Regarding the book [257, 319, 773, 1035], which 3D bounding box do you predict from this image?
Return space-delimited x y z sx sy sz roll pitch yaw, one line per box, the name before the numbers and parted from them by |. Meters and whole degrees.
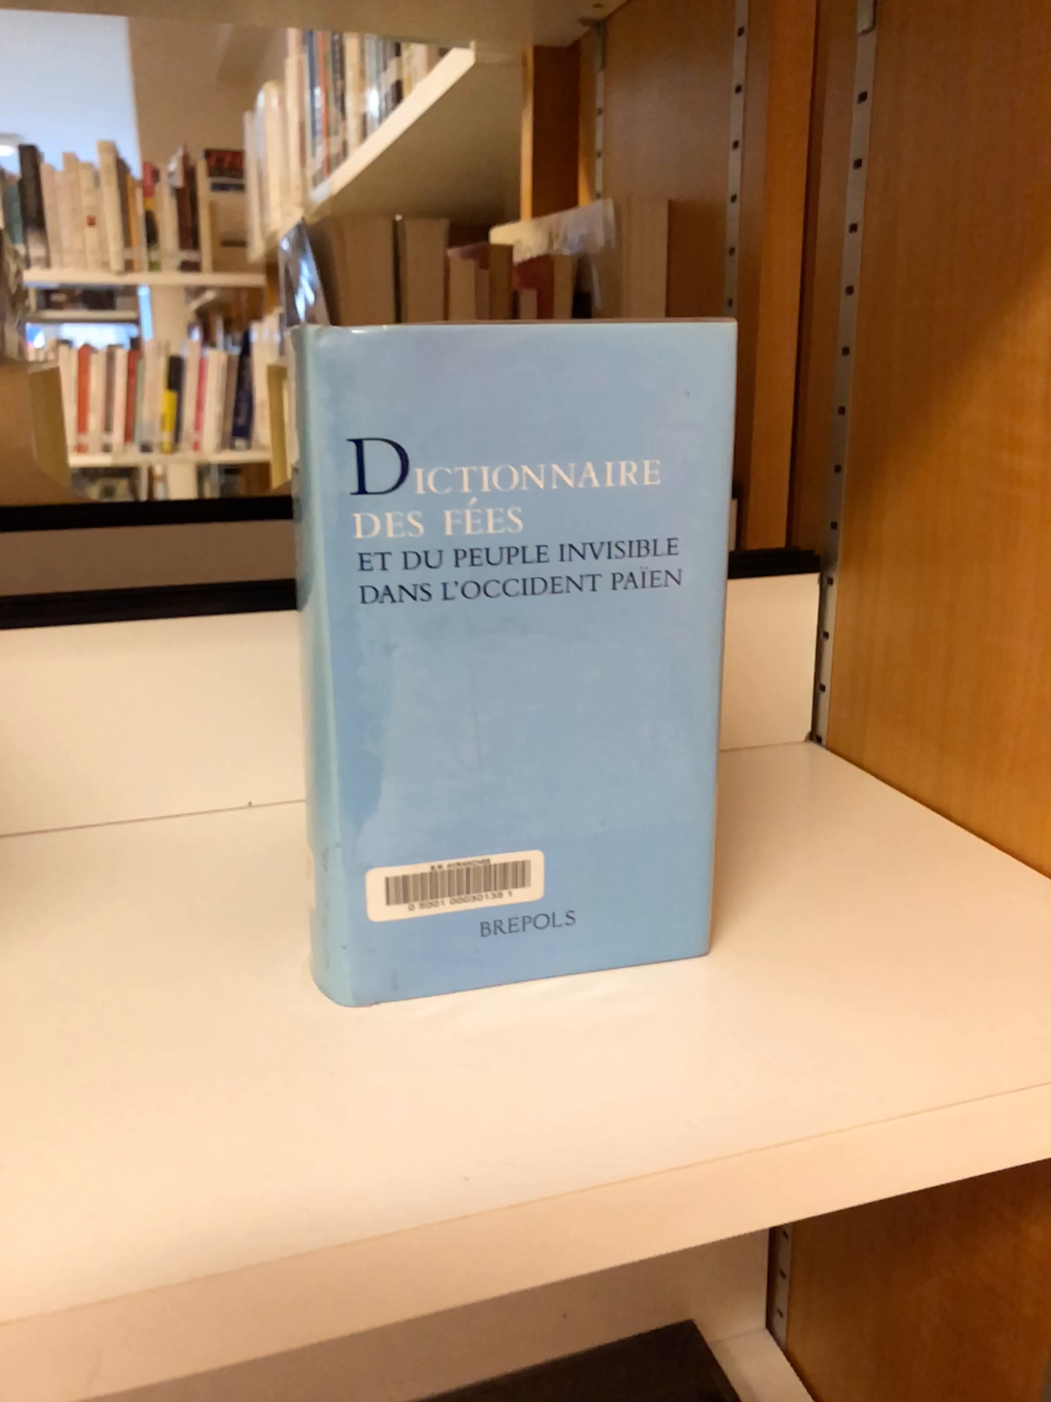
book | -0.006 -0.011 0.334 0.125 0.186 0.060 -5 18 -14
